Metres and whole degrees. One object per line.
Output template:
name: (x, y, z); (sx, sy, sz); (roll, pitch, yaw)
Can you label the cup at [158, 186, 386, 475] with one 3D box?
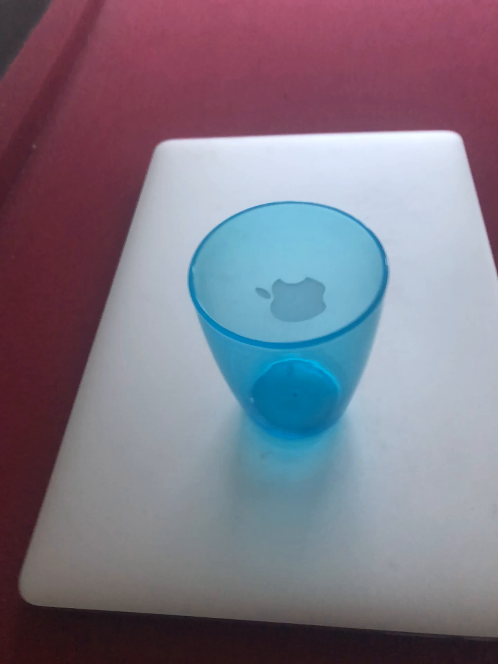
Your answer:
cup: (0.016, 0.001, 0.260); (0.080, 0.099, 0.091); (1, 52, 8)
